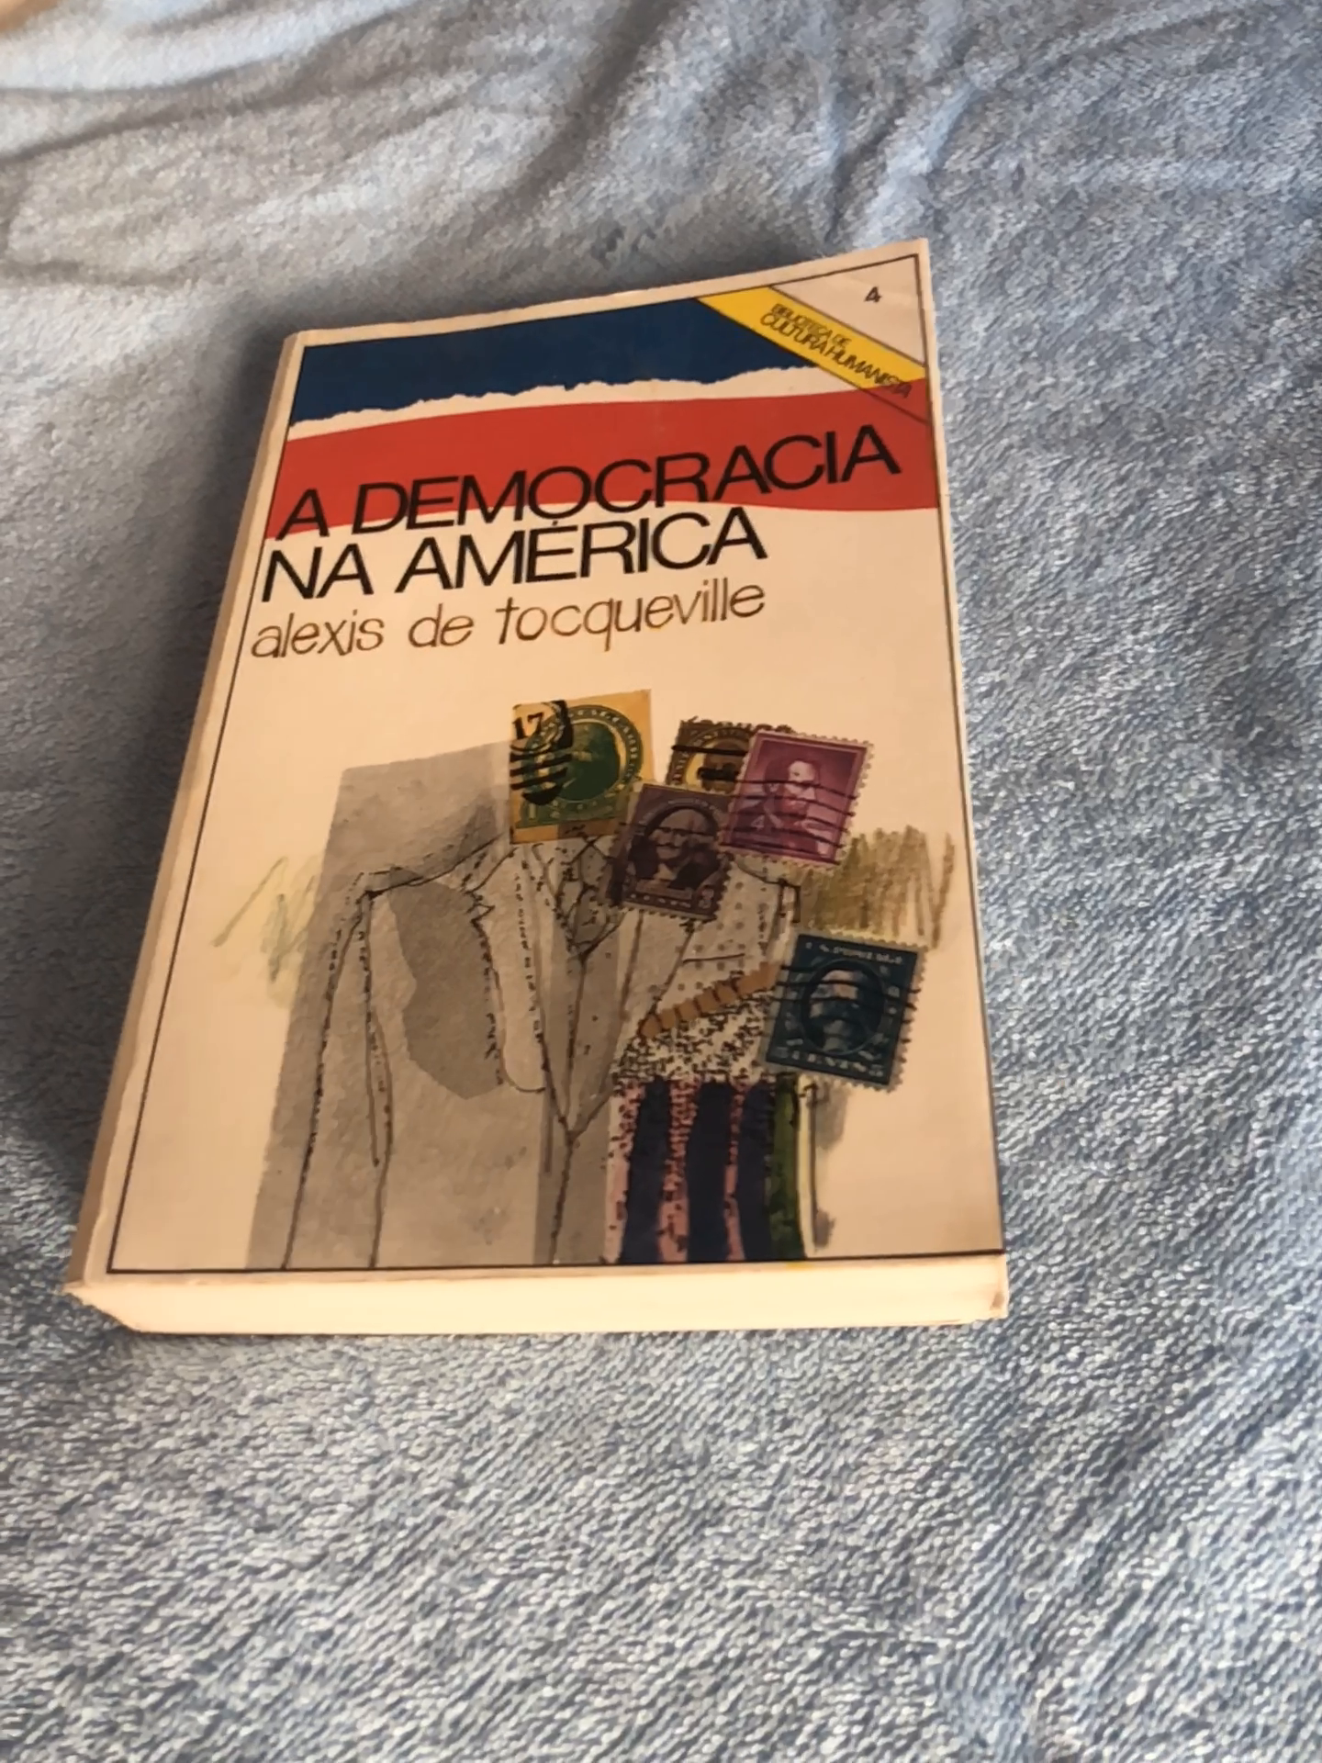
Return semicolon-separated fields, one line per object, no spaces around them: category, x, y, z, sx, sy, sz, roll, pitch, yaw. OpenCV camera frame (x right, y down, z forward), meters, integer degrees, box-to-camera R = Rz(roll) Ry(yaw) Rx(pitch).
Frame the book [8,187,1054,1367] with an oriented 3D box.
book;-0.014;-0.023;0.258;0.140;0.050;0.201;-3;63;9
